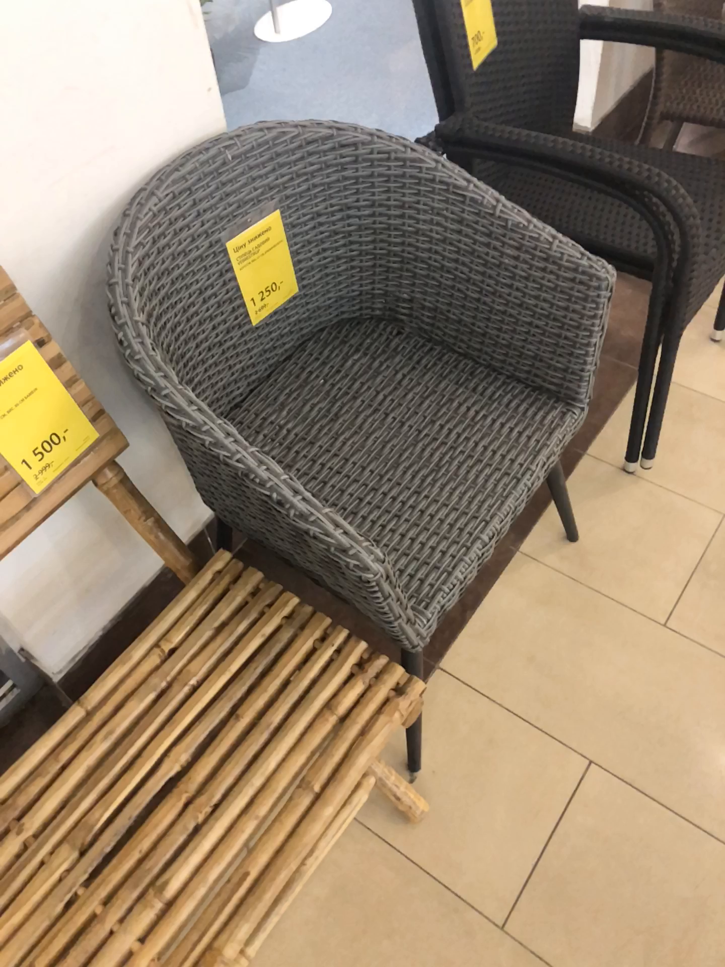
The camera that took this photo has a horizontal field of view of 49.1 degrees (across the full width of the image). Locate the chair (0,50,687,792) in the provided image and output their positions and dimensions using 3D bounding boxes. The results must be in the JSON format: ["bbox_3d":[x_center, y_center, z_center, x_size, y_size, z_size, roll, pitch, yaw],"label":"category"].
[{"bbox_3d":[0.011,-0.068,1.136,0.521,0.737,0.571,27,59,24],"label":"chair"}]
